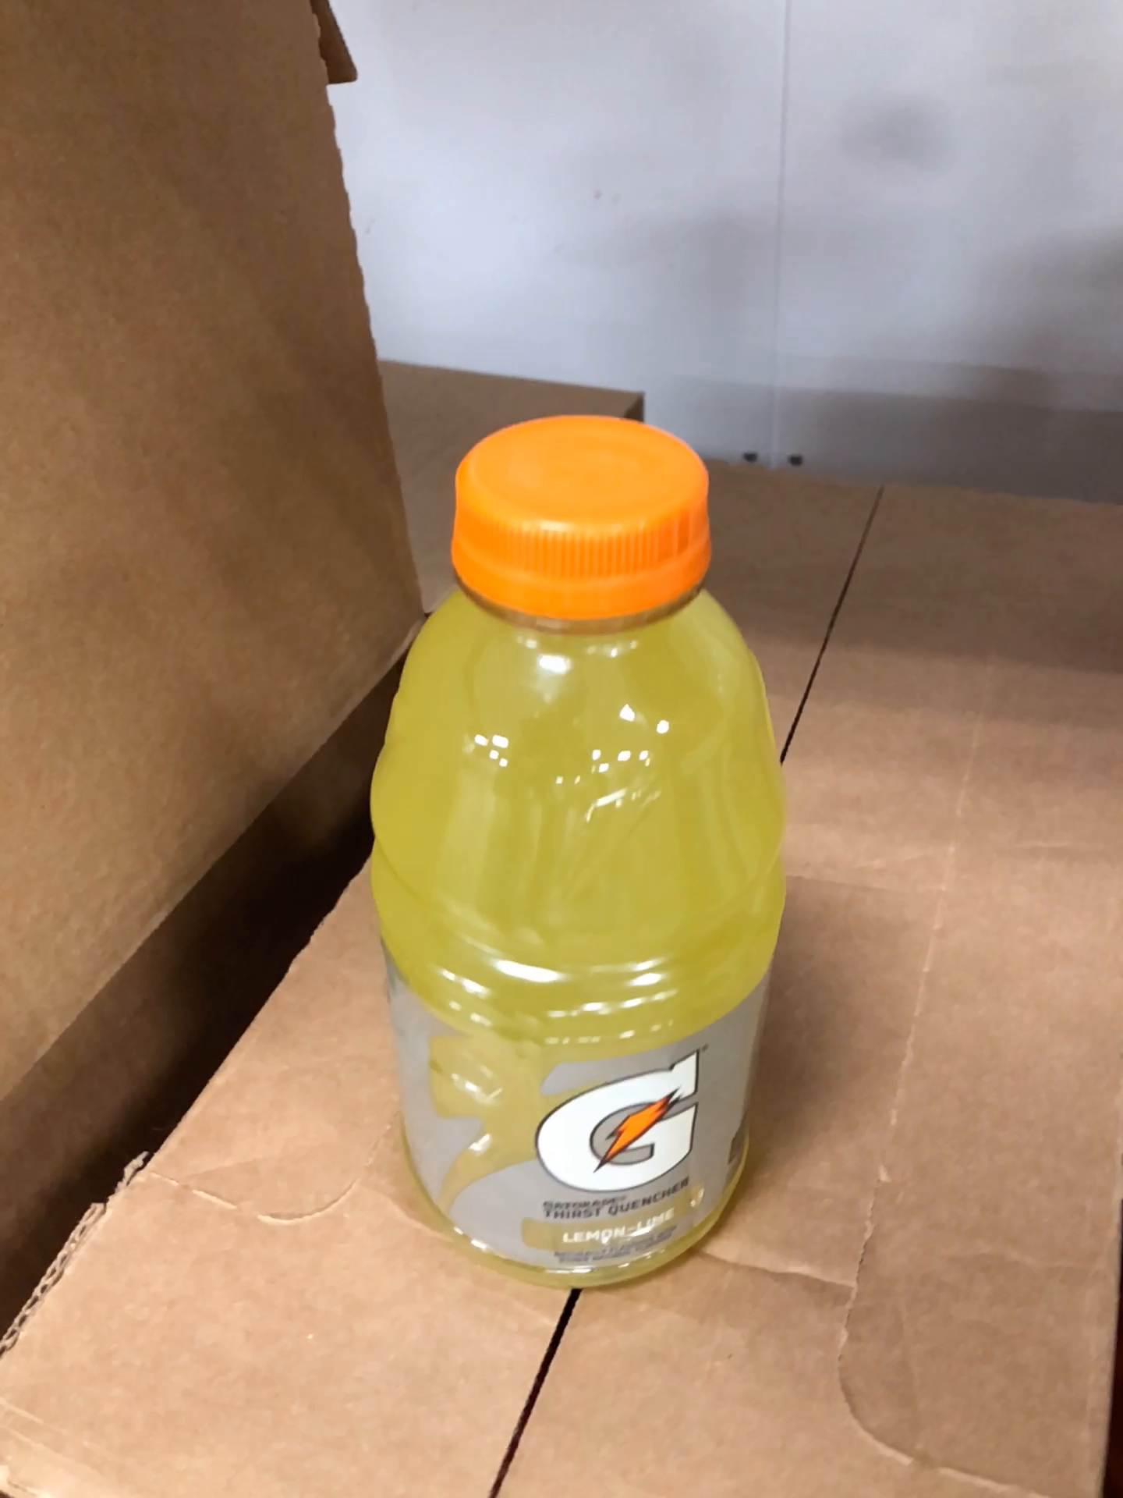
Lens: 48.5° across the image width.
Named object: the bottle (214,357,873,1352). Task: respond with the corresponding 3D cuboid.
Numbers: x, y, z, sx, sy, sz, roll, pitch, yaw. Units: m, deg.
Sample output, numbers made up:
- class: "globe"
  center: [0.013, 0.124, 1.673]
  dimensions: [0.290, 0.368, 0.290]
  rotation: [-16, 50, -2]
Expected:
- class: "bottle"
  center: [-0.003, 0.035, 0.287]
  dimensions: [0.100, 0.210, 0.090]
  rotation: [-9, 39, -6]
